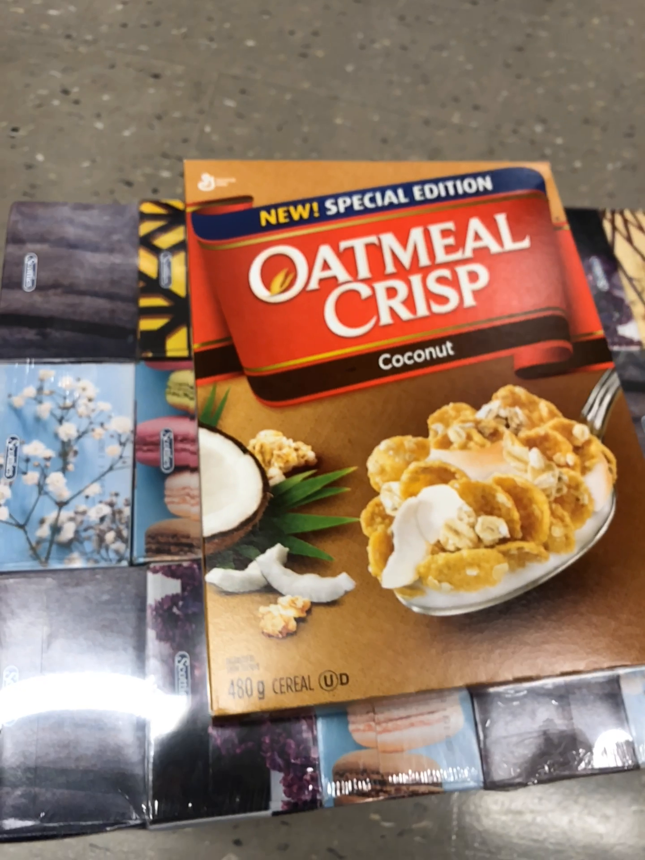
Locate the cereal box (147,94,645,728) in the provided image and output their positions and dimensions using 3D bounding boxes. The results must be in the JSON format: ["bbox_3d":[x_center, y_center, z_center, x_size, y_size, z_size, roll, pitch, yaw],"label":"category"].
[{"bbox_3d":[0.032,-0.032,0.344,0.210,0.060,0.290,-6,62,-6],"label":"cereal box"}]
